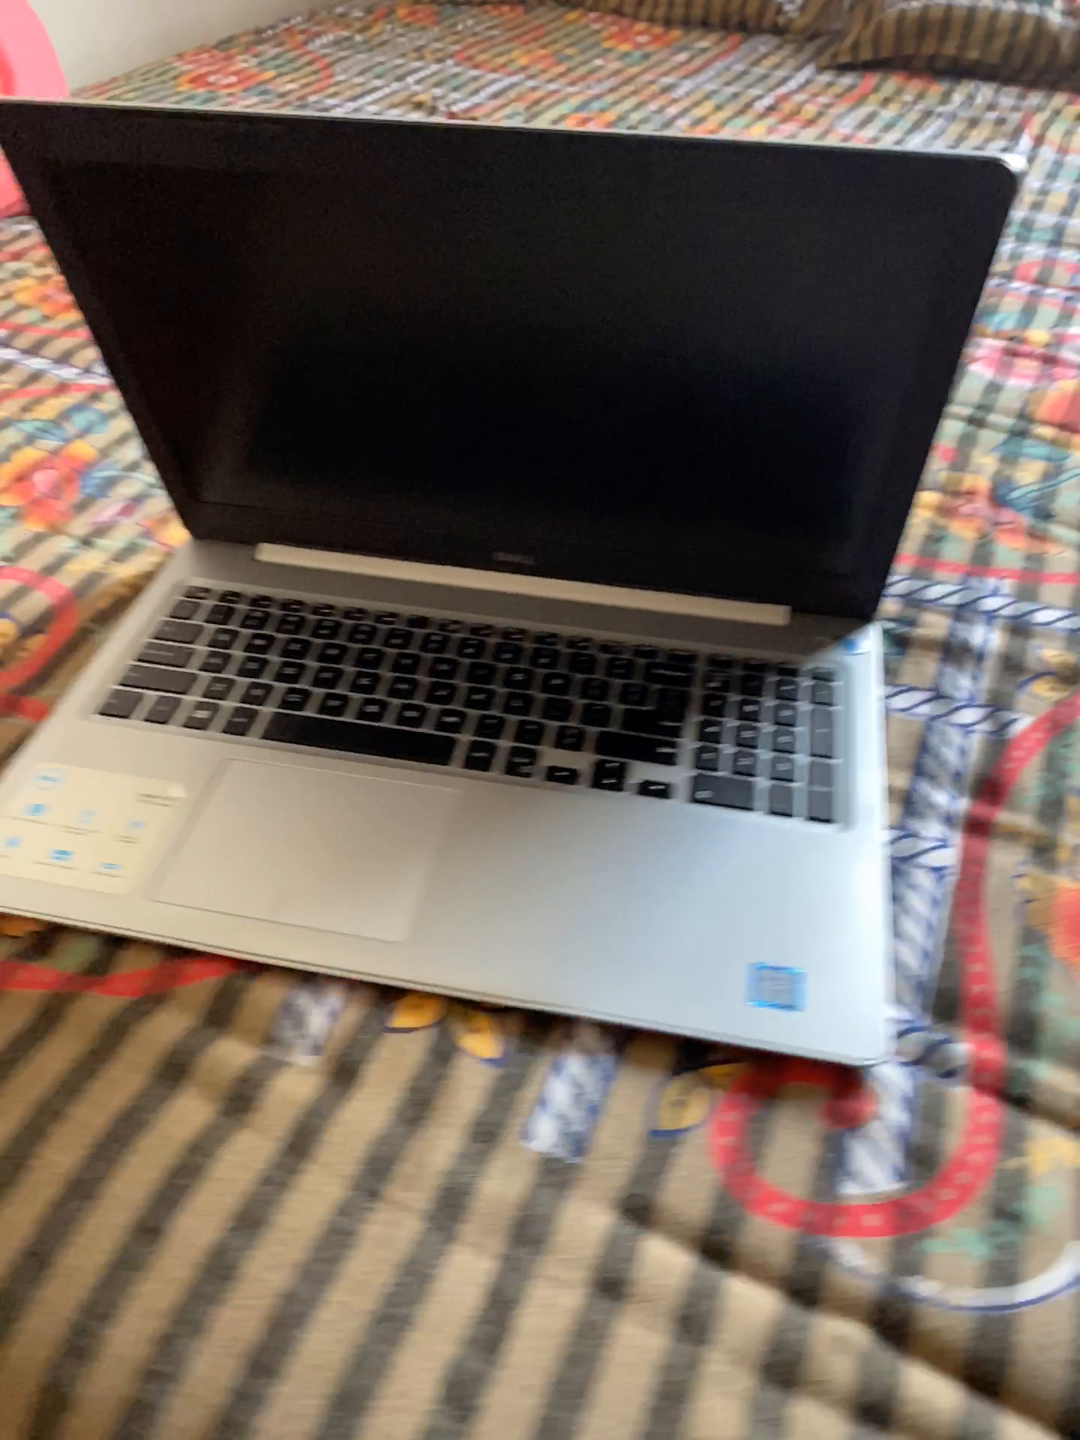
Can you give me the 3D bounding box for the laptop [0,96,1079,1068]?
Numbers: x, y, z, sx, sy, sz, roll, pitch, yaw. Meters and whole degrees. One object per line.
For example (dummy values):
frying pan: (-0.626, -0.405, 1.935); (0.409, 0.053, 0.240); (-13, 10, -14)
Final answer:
laptop: (-0.046, -0.063, 0.413); (0.373, 0.231, 0.211); (8, 45, 9)
